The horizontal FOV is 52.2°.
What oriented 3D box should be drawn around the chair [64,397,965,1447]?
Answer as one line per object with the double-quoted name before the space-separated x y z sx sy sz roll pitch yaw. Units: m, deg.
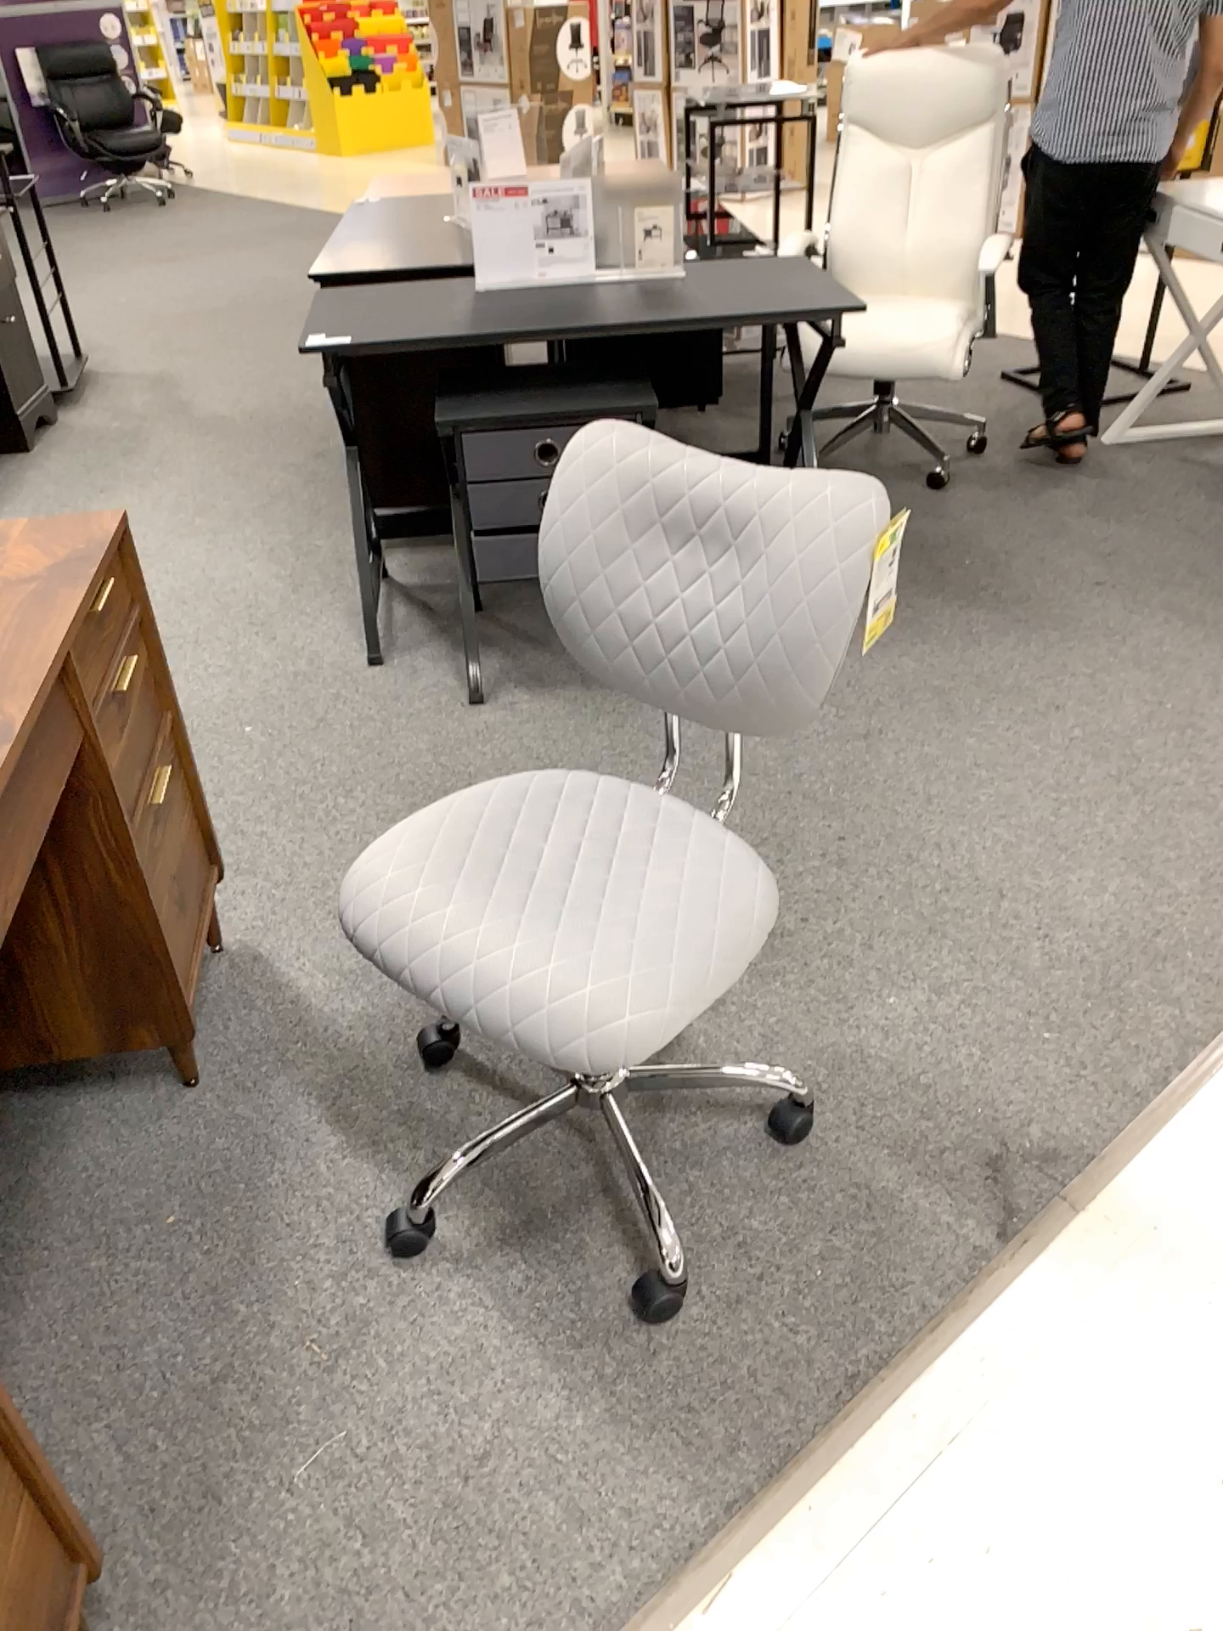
"chair" -0.070 0.074 1.487 0.632 0.875 0.642 24 43 34
